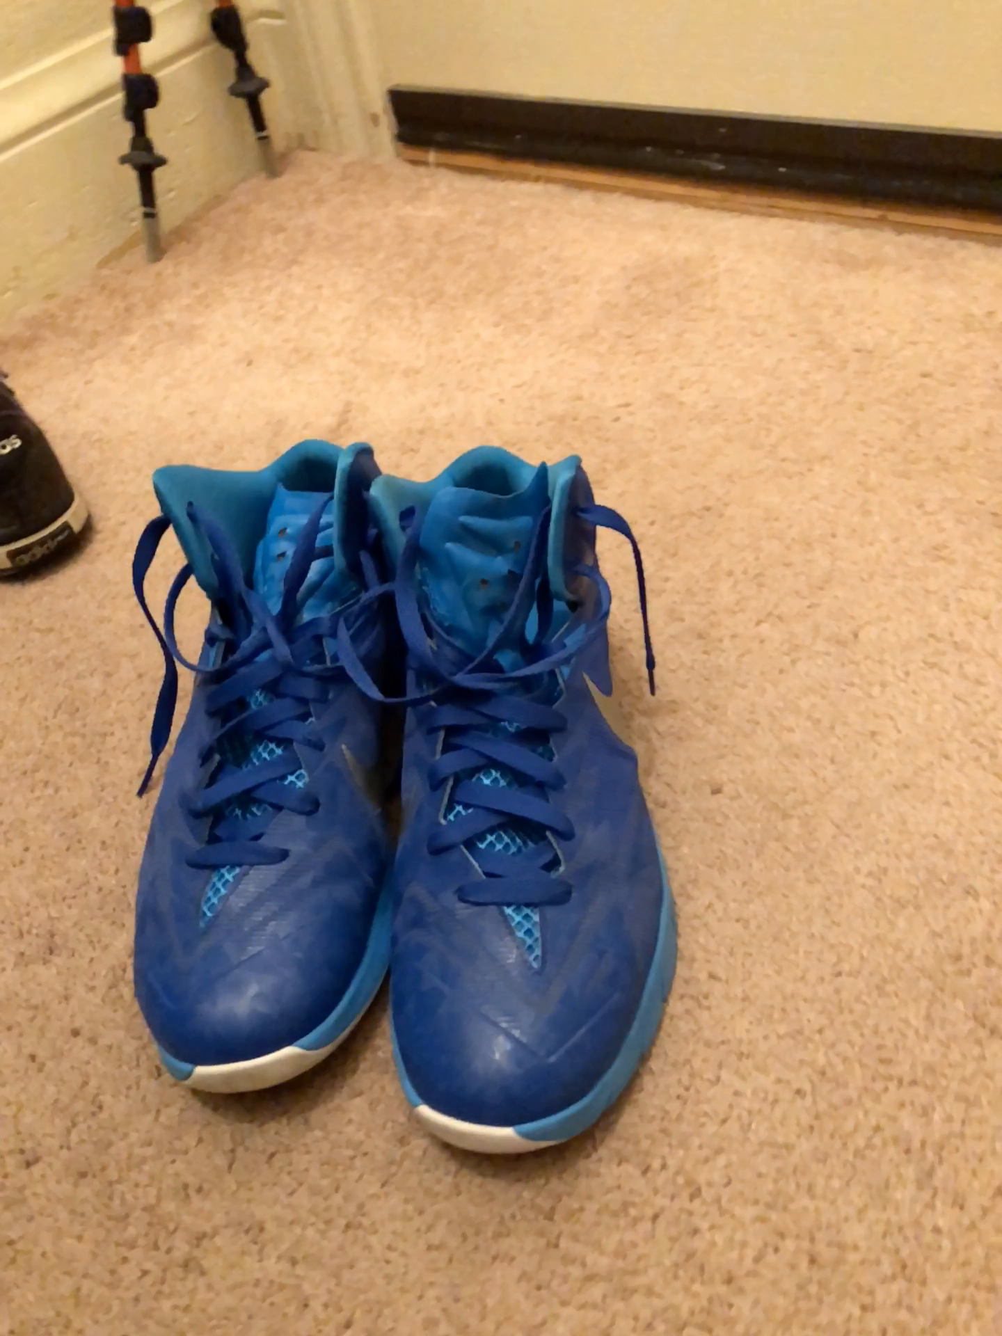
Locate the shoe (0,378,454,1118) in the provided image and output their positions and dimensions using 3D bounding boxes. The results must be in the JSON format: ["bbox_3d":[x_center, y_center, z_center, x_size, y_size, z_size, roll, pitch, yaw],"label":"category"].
[{"bbox_3d":[-0.108,0.019,0.461,0.120,0.134,0.280,-2,46,11],"label":"shoe"}]

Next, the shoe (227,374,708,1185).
[{"bbox_3d":[0.007,0.028,0.425,0.122,0.134,0.281,-4,46,9],"label":"shoe"}]
